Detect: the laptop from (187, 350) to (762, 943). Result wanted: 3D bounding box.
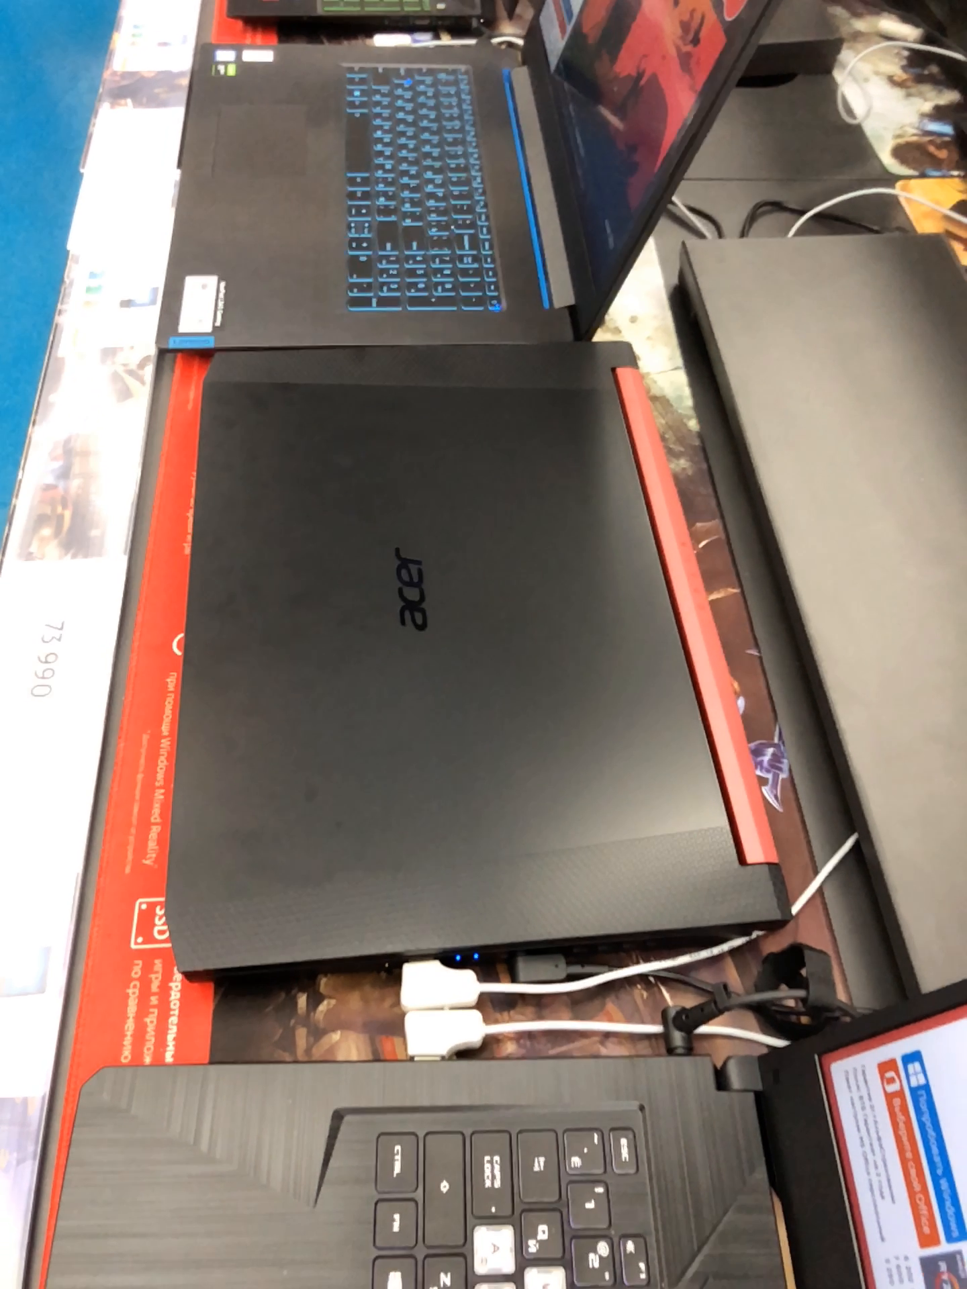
[{"bbox_3d":[-0.017,-0.032,0.572,0.255,0.002,0.371,-3,55,-5],"label":"laptop"}]
